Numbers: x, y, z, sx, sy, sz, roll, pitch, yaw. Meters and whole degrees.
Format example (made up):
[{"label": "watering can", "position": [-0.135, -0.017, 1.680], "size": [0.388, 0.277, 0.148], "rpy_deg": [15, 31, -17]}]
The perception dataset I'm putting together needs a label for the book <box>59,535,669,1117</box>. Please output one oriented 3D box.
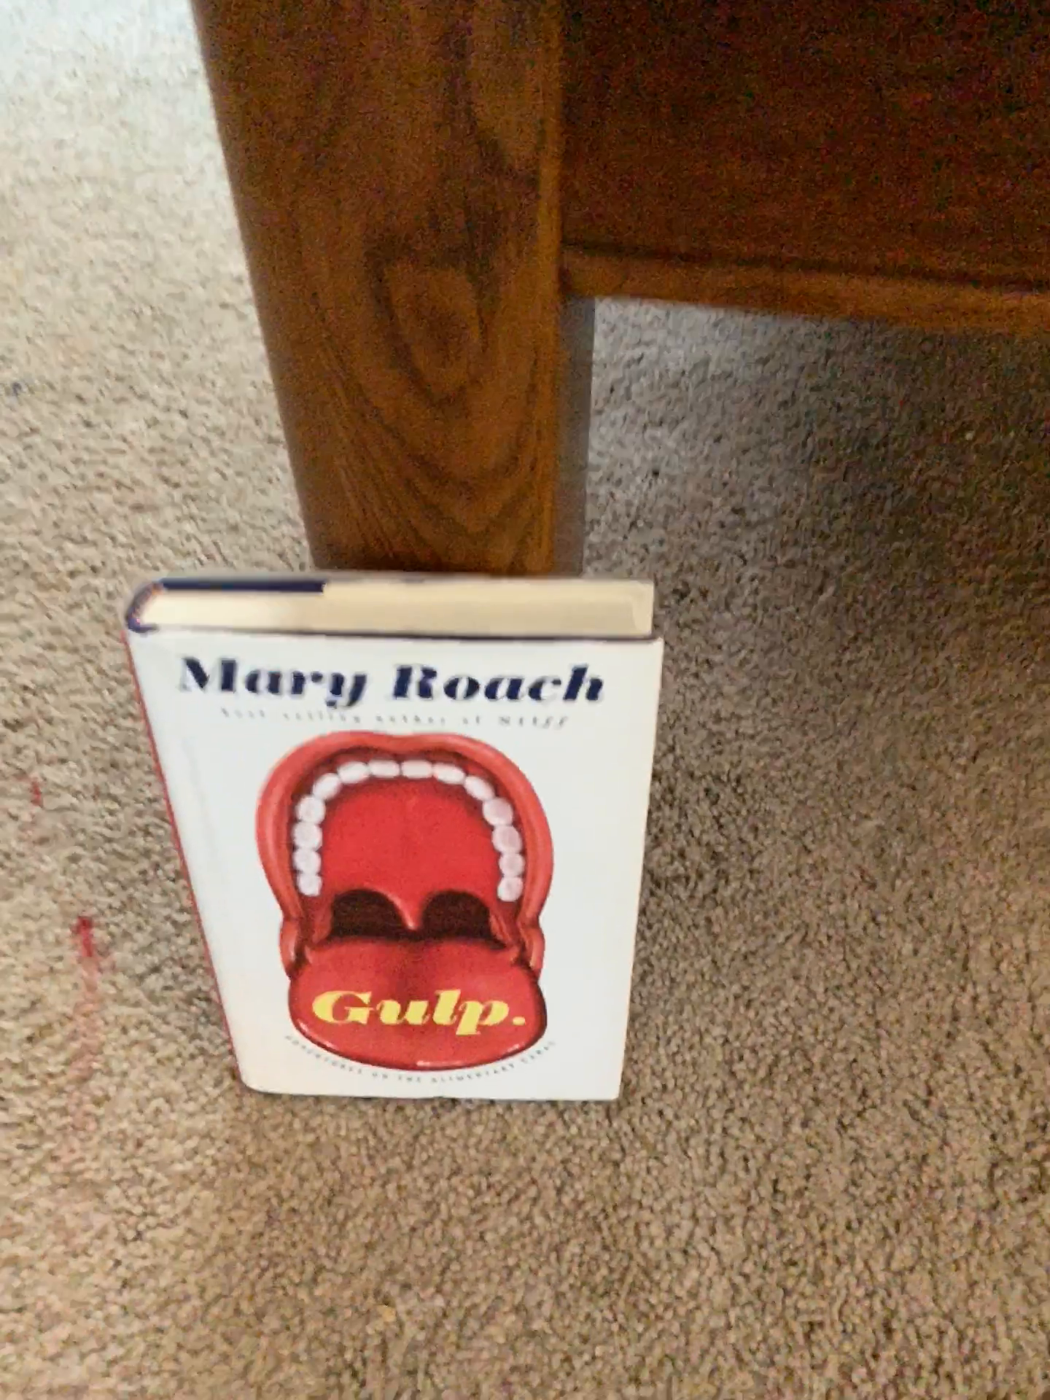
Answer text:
[{"label": "book", "position": [-0.042, 0.057, 0.366], "size": [0.160, 0.229, 0.040], "rpy_deg": [1, 38, 2]}]
